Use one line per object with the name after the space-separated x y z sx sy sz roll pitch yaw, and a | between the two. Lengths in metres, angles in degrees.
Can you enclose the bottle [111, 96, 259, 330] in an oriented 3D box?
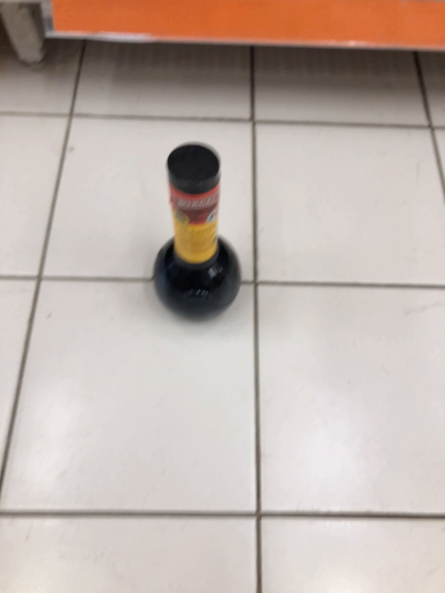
-0.022 -0.046 0.368 0.080 0.179 0.080 1 65 -2 | bottle
